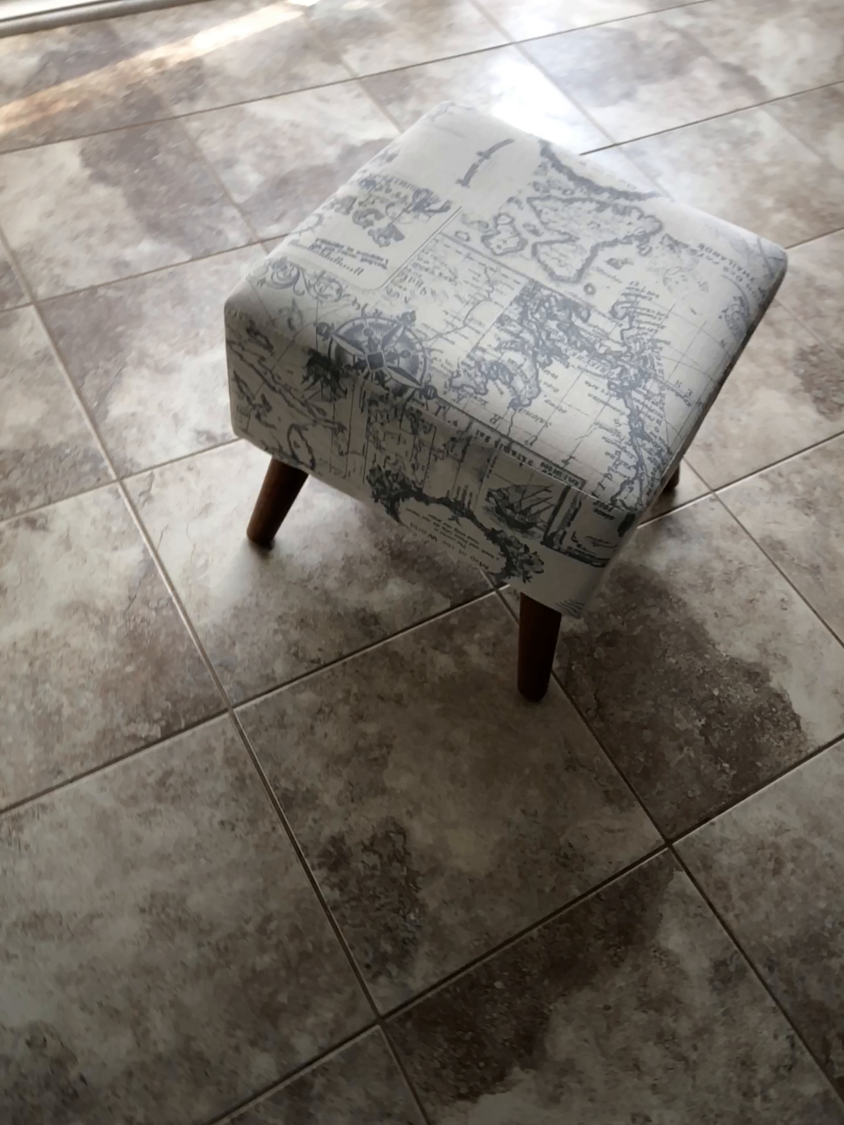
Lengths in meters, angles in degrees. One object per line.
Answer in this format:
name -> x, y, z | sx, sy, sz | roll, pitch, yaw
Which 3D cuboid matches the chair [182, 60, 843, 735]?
chair -> 0.092, -0.179, 0.950 | 0.420, 0.319, 0.471 | 29, 58, 12
